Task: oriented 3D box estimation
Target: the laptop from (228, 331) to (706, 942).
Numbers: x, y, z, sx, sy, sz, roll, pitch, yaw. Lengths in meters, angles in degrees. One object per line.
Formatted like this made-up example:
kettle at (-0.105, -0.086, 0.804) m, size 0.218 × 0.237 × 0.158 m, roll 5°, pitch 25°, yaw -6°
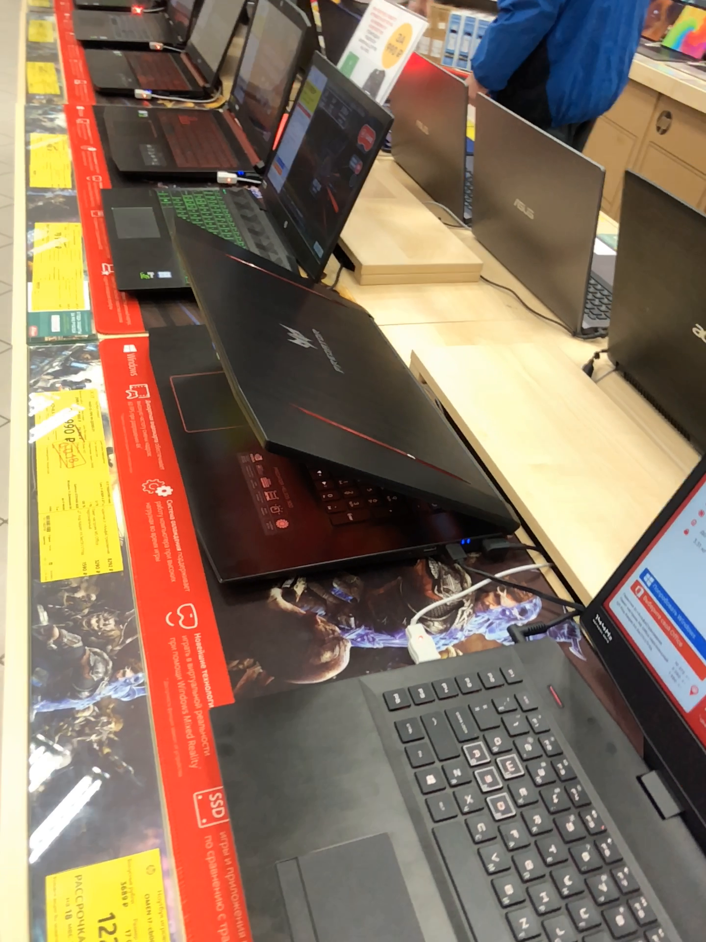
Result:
laptop at (0.147, 0.158, 0.355) m, size 0.355 × 0.250 × 0.379 m, roll -7°, pitch 39°, yaw -16°

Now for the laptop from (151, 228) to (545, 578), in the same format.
laptop at (-0.042, -0.105, 0.781) m, size 0.261 × 0.124 × 0.421 m, roll -7°, pitch 39°, yaw -19°

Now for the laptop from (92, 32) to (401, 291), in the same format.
laptop at (-0.175, -0.453, 1.117) m, size 0.342 × 0.230 × 0.352 m, roll -6°, pitch 41°, yaw -17°
